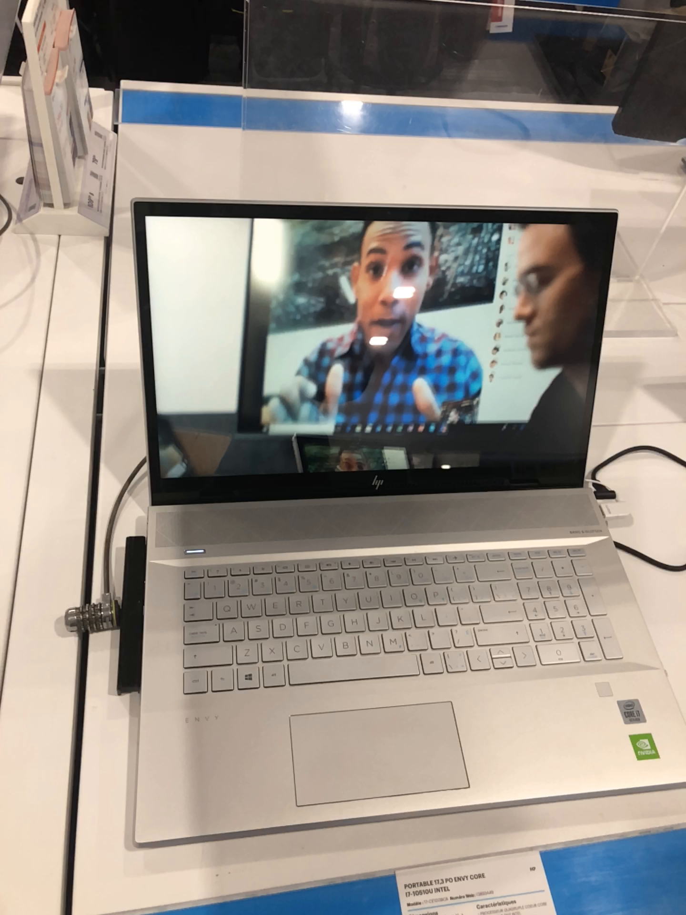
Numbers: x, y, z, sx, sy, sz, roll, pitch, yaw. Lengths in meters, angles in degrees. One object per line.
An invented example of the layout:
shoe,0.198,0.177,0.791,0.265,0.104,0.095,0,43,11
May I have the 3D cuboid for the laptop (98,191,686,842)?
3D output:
laptop,0.049,0.015,0.554,0.390,0.199,0.398,-2,51,-11
